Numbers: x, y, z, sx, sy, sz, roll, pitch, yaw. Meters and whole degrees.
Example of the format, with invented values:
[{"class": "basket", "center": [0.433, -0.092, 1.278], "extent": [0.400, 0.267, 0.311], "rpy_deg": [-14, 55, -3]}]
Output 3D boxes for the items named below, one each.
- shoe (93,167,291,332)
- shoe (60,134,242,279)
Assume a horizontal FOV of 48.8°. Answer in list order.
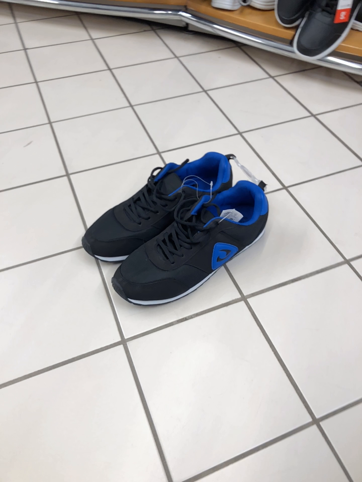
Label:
[{"class": "shoe", "center": [0.023, 0.005, 0.635], "extent": [0.291, 0.109, 0.100], "rpy_deg": [-28, 56, -22]}, {"class": "shoe", "center": [-0.044, -0.067, 0.698], "extent": [0.291, 0.109, 0.100], "rpy_deg": [-28, 56, -22]}]
